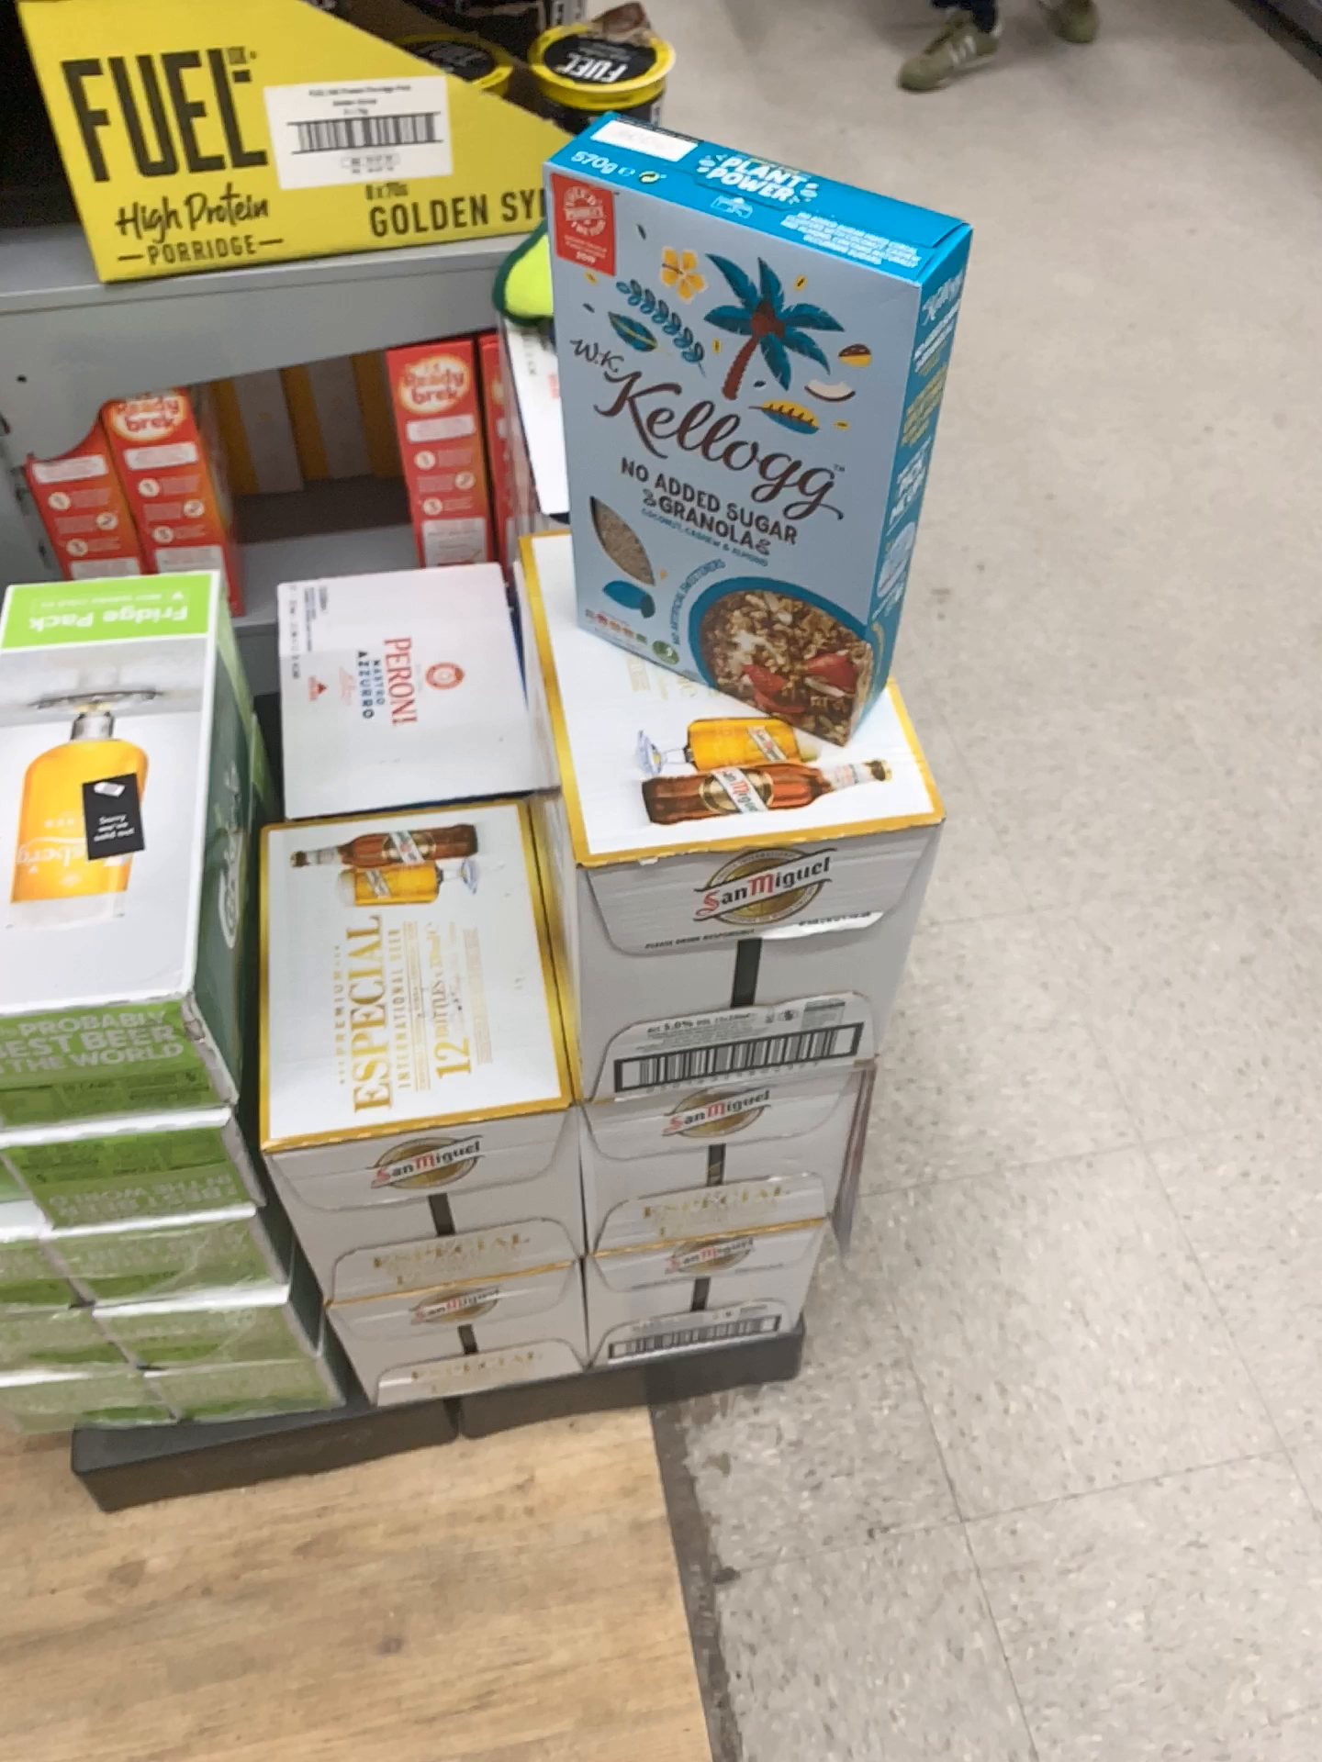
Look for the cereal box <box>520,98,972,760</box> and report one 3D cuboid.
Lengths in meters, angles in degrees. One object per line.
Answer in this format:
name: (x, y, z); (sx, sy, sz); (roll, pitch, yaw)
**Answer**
cereal box: (0.030, -0.182, 0.594); (0.160, 0.248, 0.050); (27, 59, 19)
